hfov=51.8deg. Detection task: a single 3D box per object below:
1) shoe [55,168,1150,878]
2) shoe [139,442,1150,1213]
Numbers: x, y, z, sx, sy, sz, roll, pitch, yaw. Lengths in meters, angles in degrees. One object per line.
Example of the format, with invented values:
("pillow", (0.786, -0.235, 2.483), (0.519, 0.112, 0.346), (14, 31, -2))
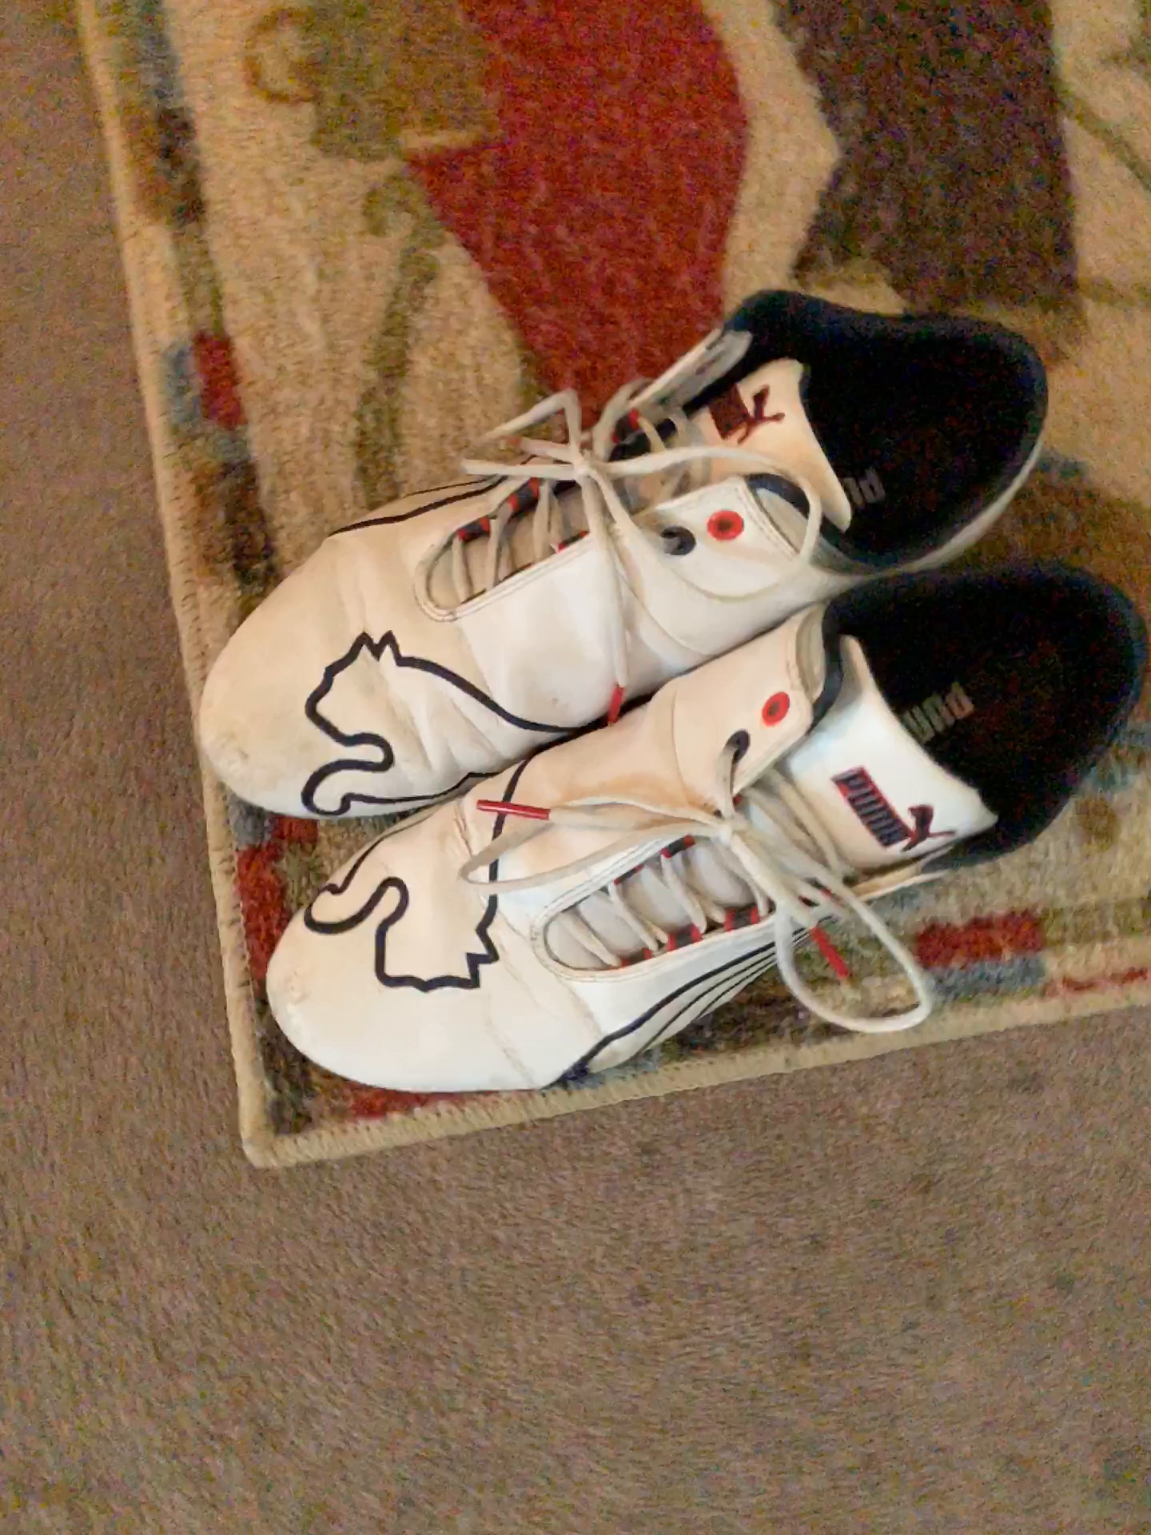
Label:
("shoe", (0.014, -0.072, 0.365), (0.290, 0.090, 0.100), (-22, 82, -11))
("shoe", (0.039, 0.014, 0.359), (0.290, 0.100, 0.100), (-22, 83, -11))
